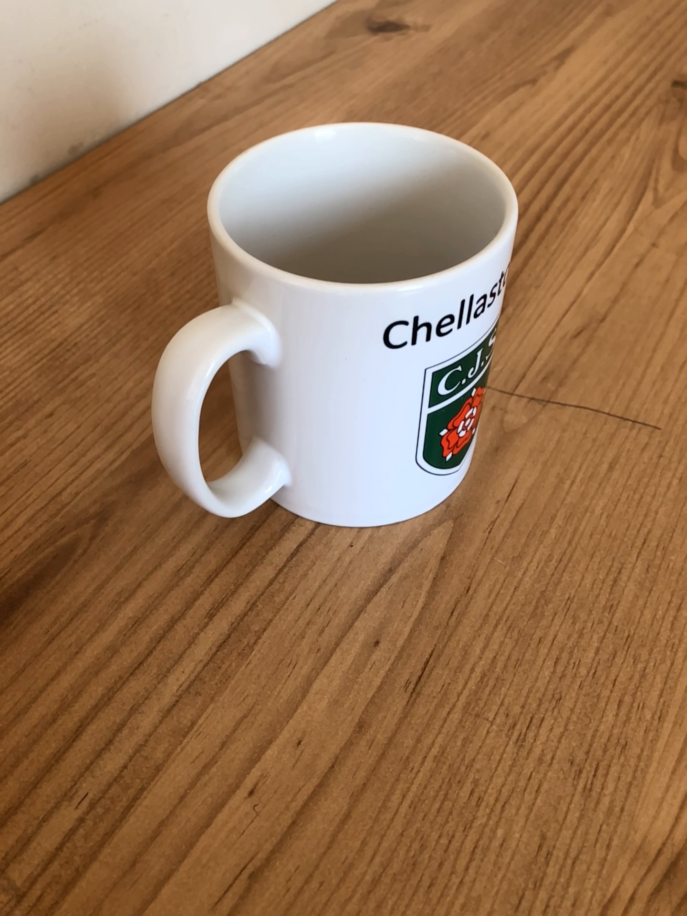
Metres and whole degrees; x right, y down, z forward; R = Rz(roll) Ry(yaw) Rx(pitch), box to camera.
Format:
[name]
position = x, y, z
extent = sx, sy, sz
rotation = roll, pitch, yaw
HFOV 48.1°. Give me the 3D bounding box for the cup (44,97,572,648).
[cup]
position = -0.003, -0.029, 0.230
extent = 0.084, 0.095, 0.110
rotation = 28, 58, 27
